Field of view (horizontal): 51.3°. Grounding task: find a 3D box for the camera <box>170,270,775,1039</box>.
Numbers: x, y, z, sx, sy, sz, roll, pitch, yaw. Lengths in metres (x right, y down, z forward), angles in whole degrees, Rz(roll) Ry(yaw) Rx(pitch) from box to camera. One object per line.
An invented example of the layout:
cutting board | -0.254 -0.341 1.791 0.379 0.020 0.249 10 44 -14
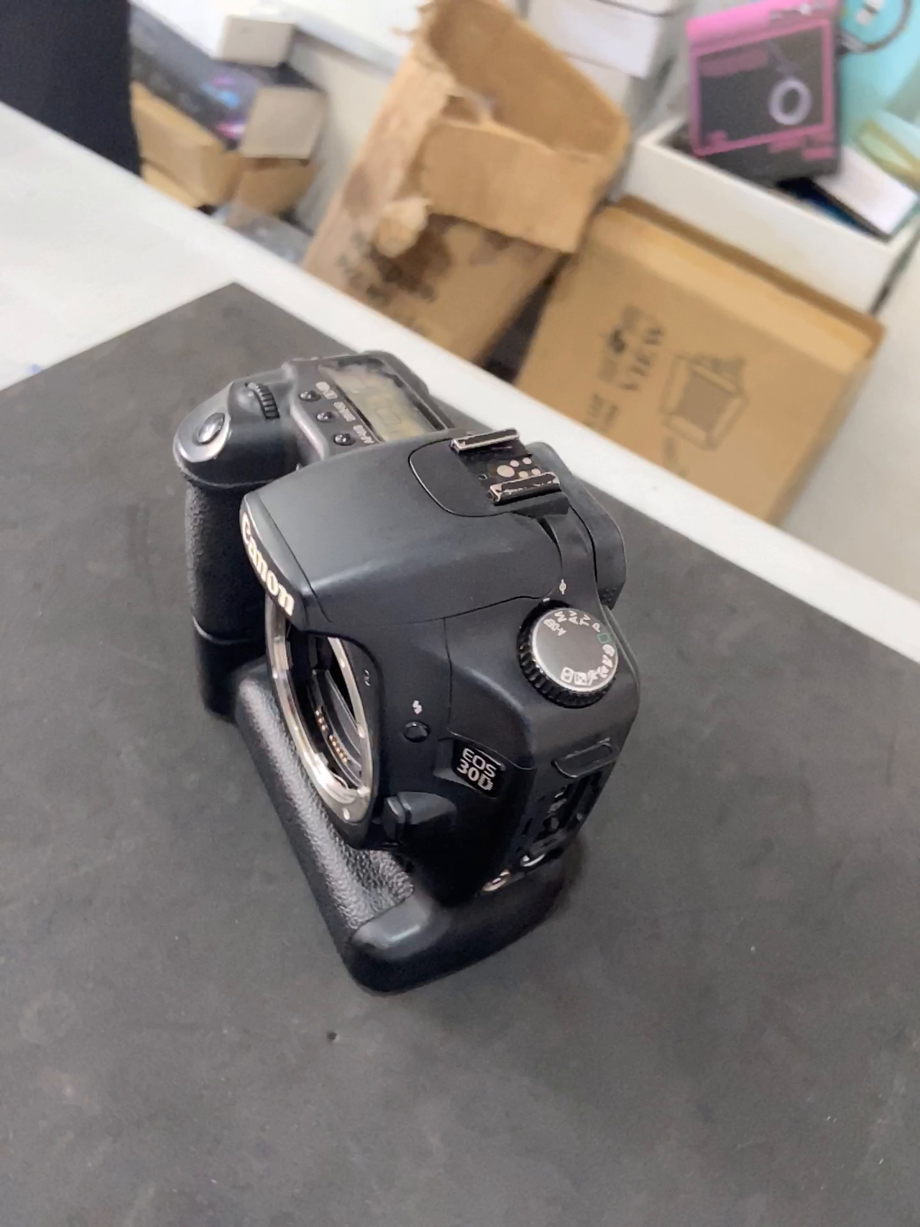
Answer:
camera | -0.016 0.009 0.265 0.080 0.139 0.140 -16 52 -26
